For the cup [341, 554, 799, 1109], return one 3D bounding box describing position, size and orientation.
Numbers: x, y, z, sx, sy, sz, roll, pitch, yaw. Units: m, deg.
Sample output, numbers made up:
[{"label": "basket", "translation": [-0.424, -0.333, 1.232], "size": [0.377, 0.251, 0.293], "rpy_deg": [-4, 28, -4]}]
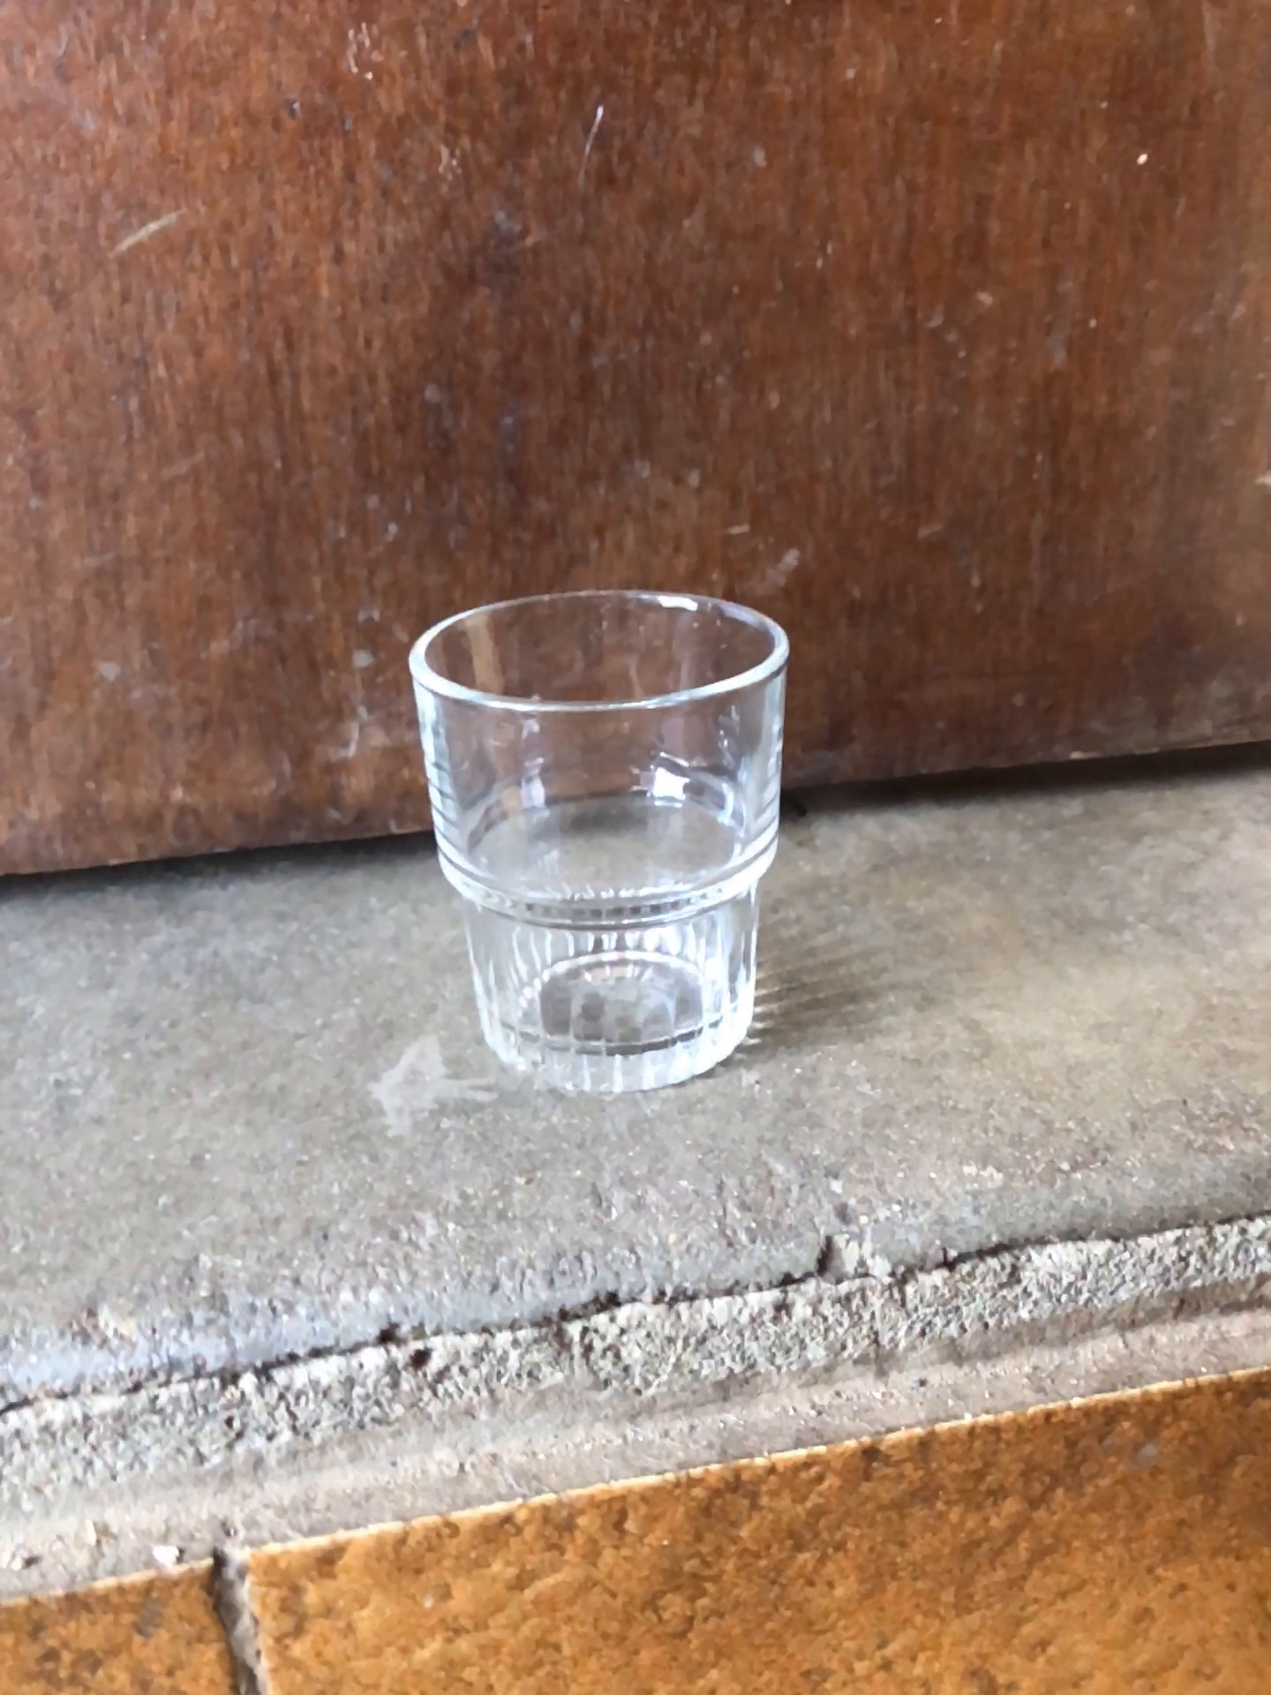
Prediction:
[{"label": "cup", "translation": [-0.007, -0.006, 0.264], "size": [0.070, 0.080, 0.070], "rpy_deg": [-2, 25, 1]}]
